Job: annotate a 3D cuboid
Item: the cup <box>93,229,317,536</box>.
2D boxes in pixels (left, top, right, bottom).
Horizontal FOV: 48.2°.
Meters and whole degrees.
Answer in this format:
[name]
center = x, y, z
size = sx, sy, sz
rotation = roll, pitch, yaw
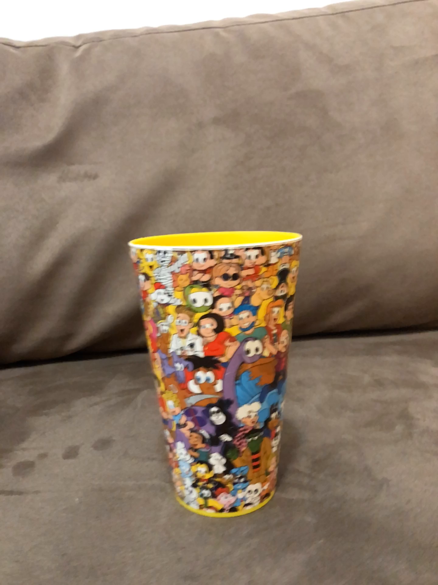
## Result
[cup]
center = -0.001, 0.038, 0.282
size = 0.090, 0.140, 0.090
rotation = -3, 10, 1
